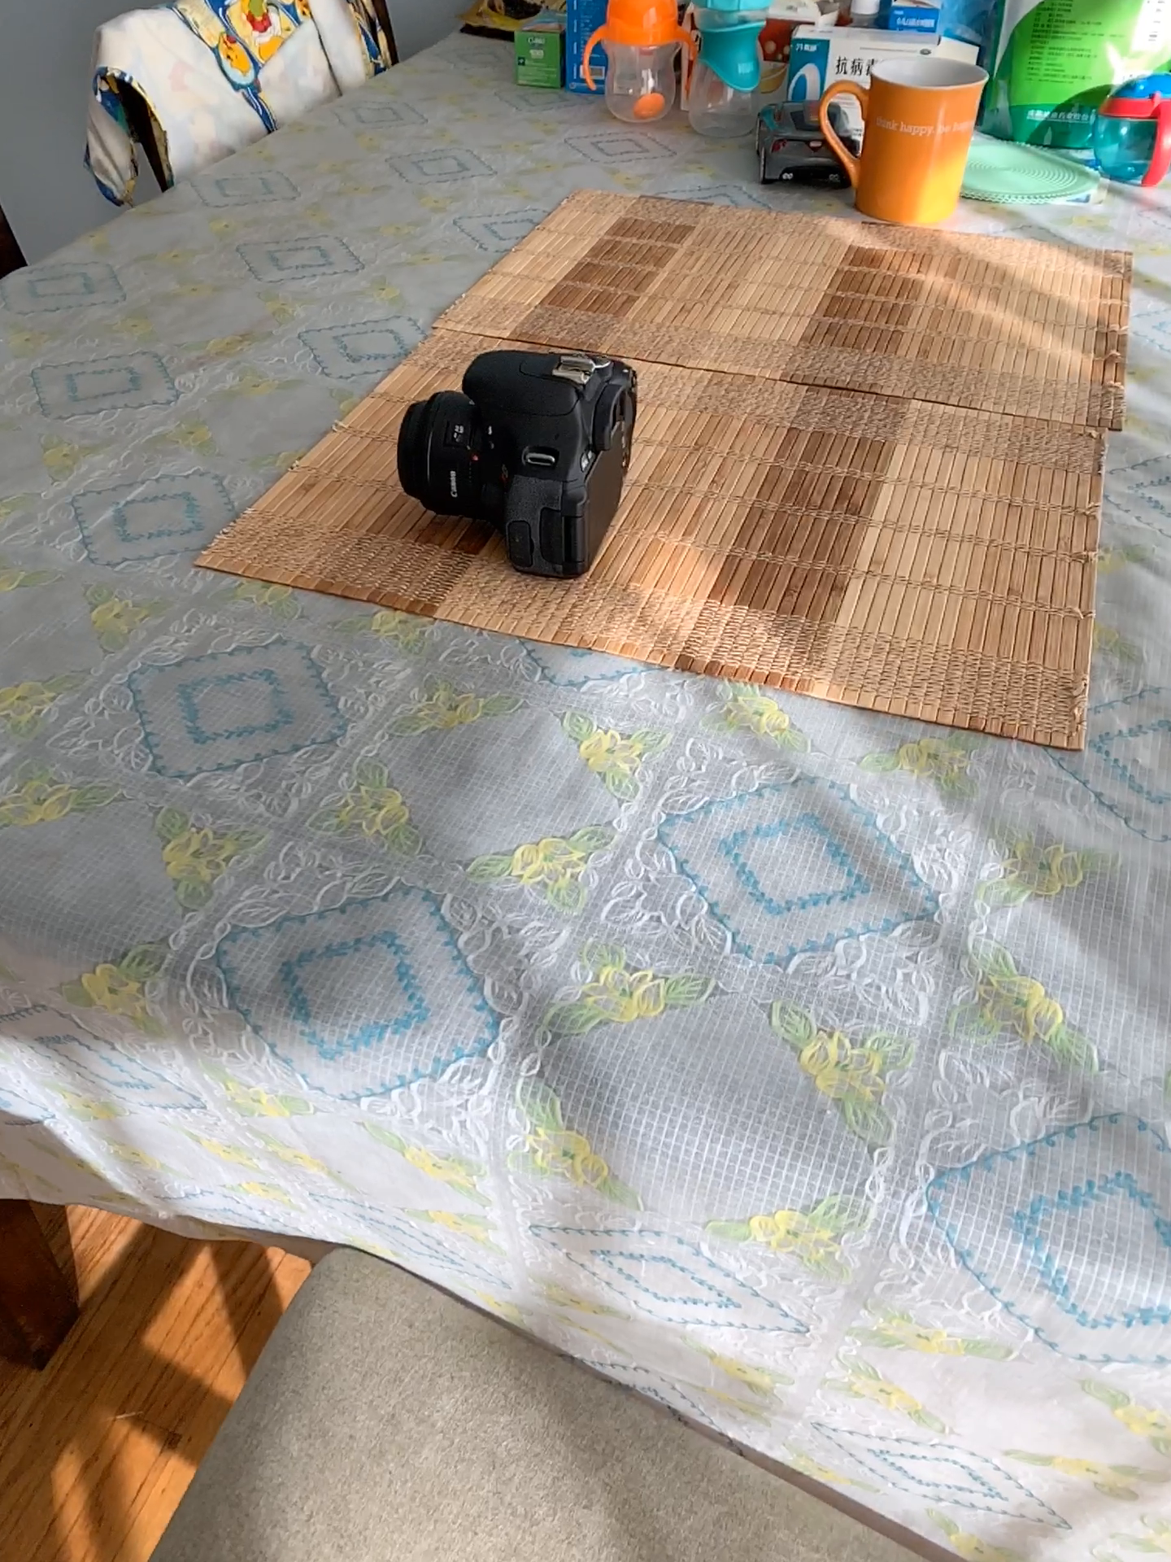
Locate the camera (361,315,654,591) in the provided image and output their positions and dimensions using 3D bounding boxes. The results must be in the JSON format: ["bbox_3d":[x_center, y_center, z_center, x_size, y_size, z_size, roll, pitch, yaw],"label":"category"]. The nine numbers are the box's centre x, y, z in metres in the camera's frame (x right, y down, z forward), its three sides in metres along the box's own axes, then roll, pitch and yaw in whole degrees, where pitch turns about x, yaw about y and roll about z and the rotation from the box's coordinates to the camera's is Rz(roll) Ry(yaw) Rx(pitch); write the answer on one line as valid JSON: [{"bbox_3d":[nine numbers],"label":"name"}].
[{"bbox_3d":[-0.038,-0.180,0.650,0.125,0.092,0.100,12,45,12],"label":"camera"}]
